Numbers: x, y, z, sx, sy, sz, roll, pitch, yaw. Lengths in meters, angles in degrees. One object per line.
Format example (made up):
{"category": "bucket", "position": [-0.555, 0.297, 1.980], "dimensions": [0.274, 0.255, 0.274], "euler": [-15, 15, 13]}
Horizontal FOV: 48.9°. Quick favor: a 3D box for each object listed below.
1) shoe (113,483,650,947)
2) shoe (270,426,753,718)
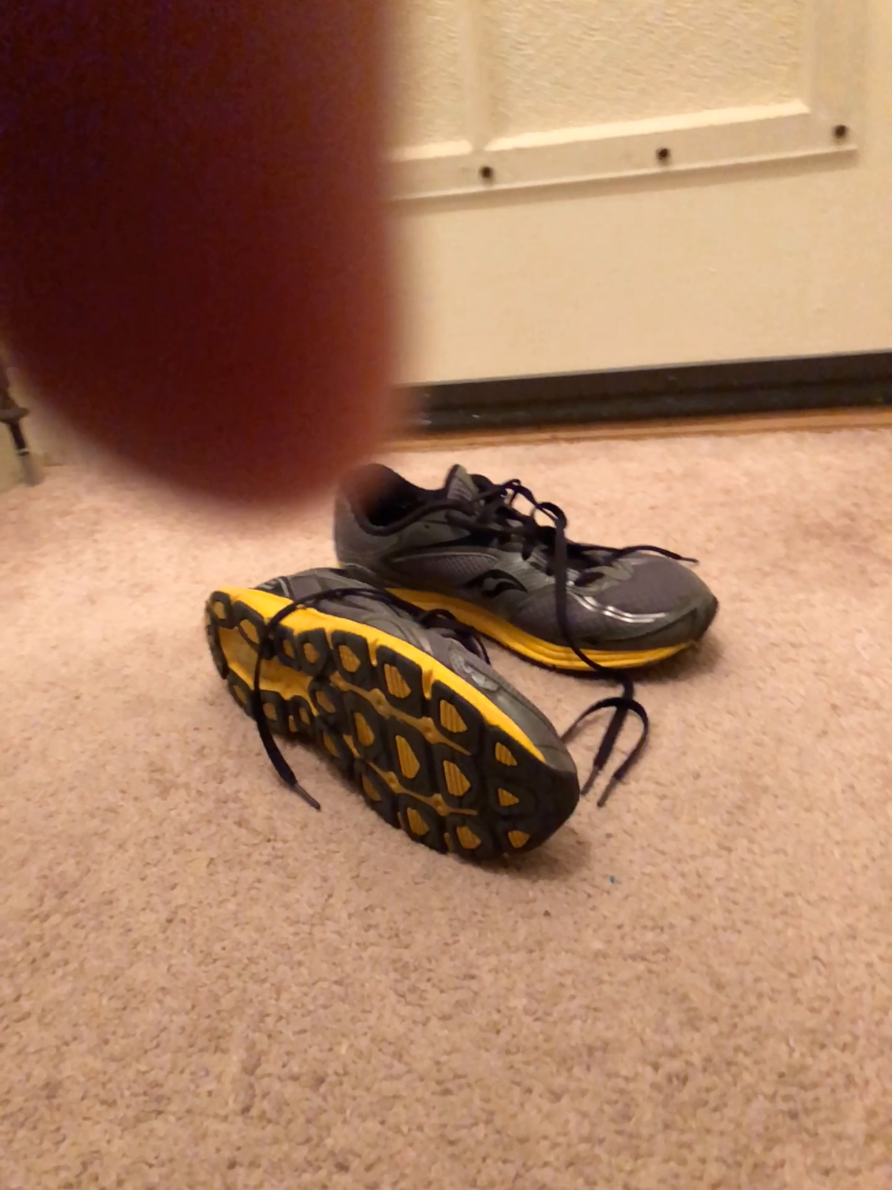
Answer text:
{"category": "shoe", "position": [-0.046, 0.042, 0.535], "dimensions": [0.109, 0.117, 0.294], "euler": [-32, 37, -33]}
{"category": "shoe", "position": [0.037, -0.029, 0.636], "dimensions": [0.283, 0.098, 0.118], "euler": [13, 35, 34]}
